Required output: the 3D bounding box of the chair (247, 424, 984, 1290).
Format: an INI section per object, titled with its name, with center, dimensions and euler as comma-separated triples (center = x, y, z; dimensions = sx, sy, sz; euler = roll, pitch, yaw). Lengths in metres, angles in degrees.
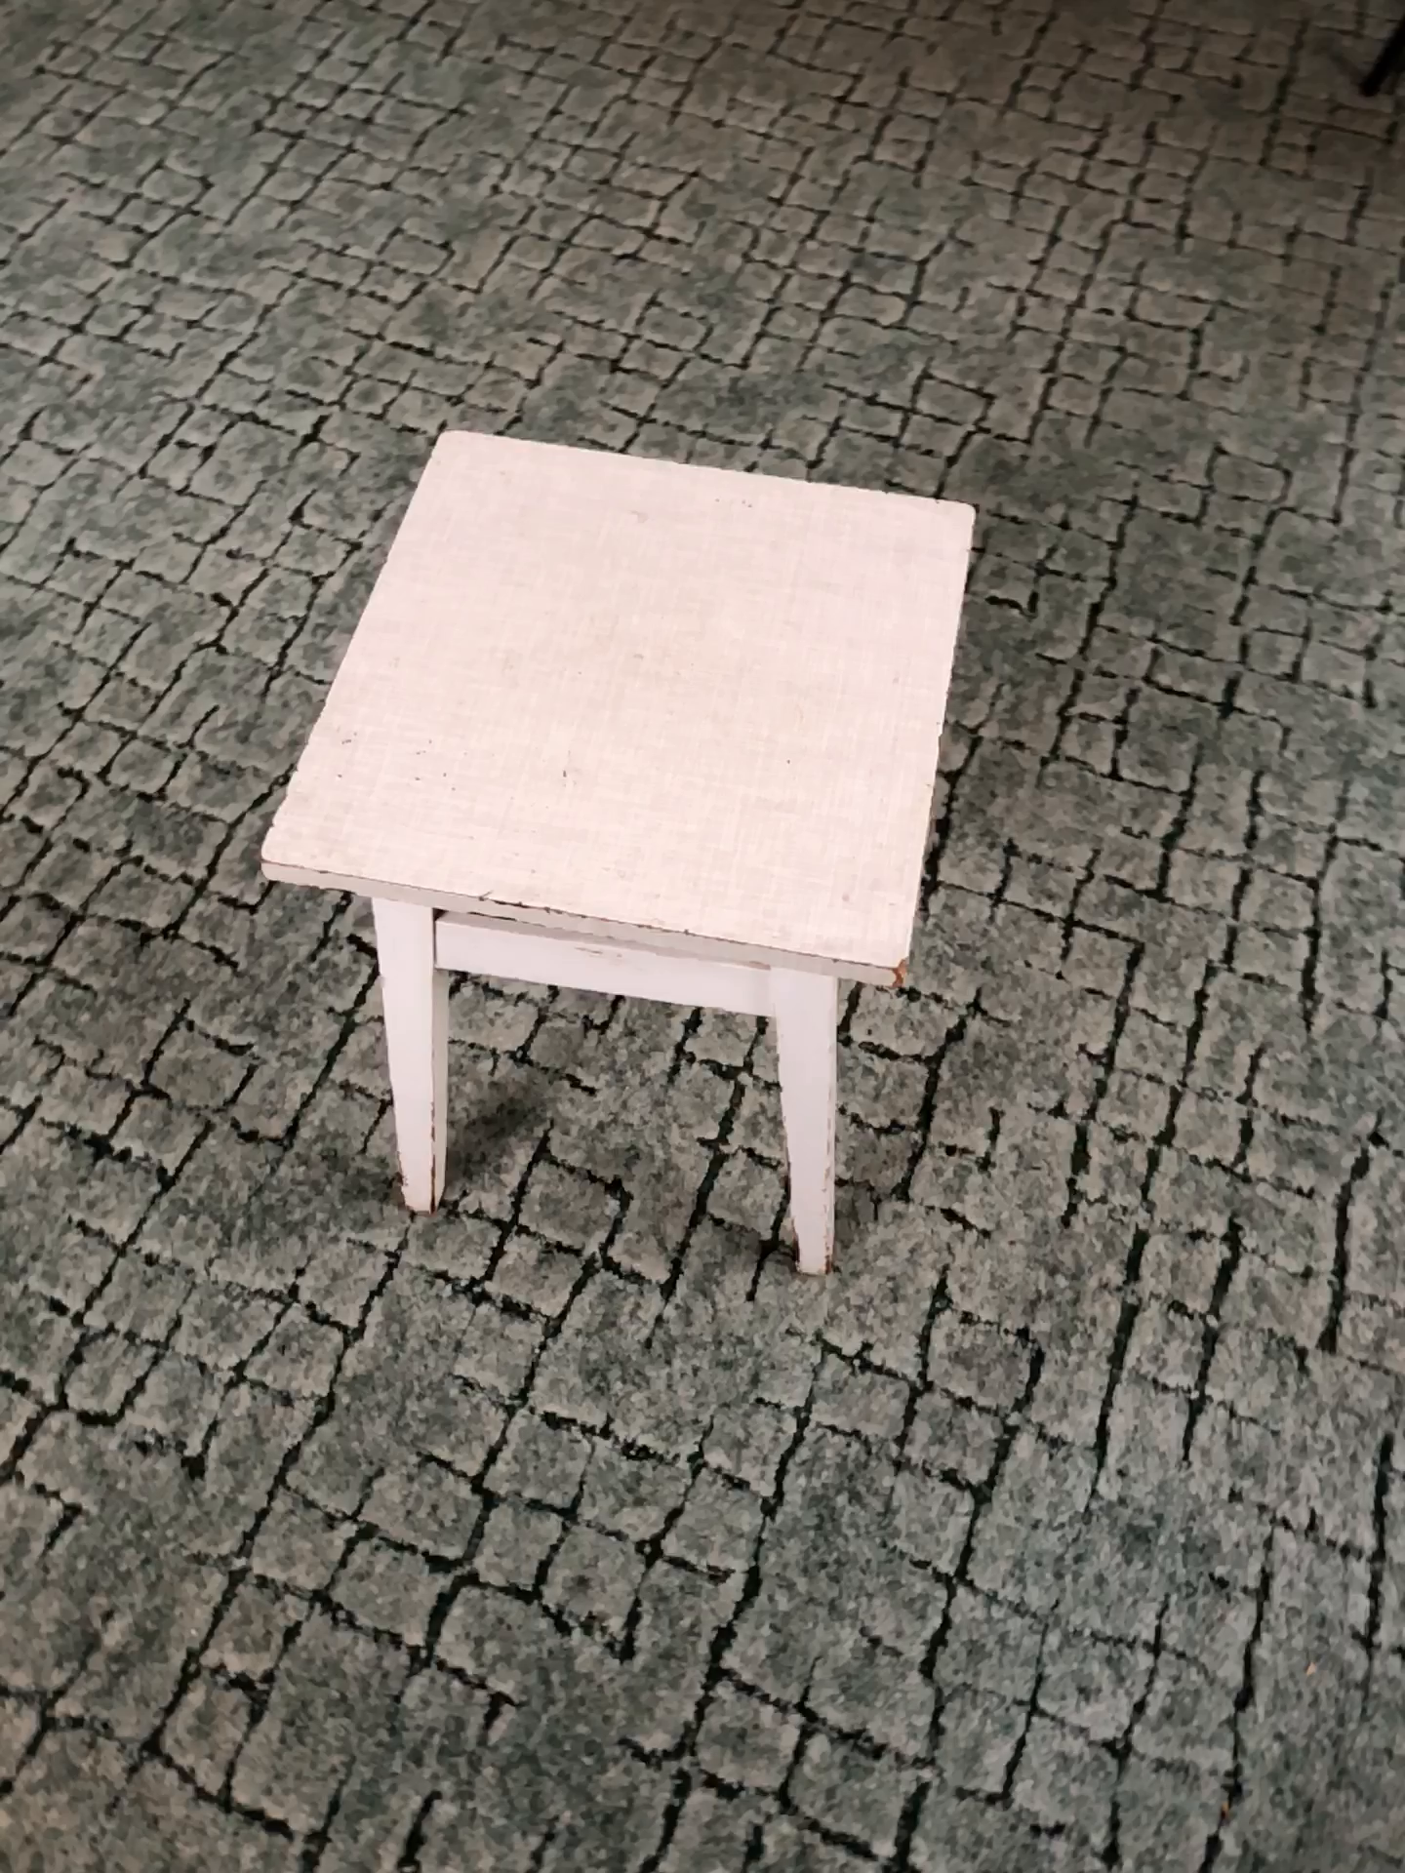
[chair]
center = -0.031, -0.029, 1.028
dimensions = 0.334, 0.447, 0.334
euler = 10, 59, 6
